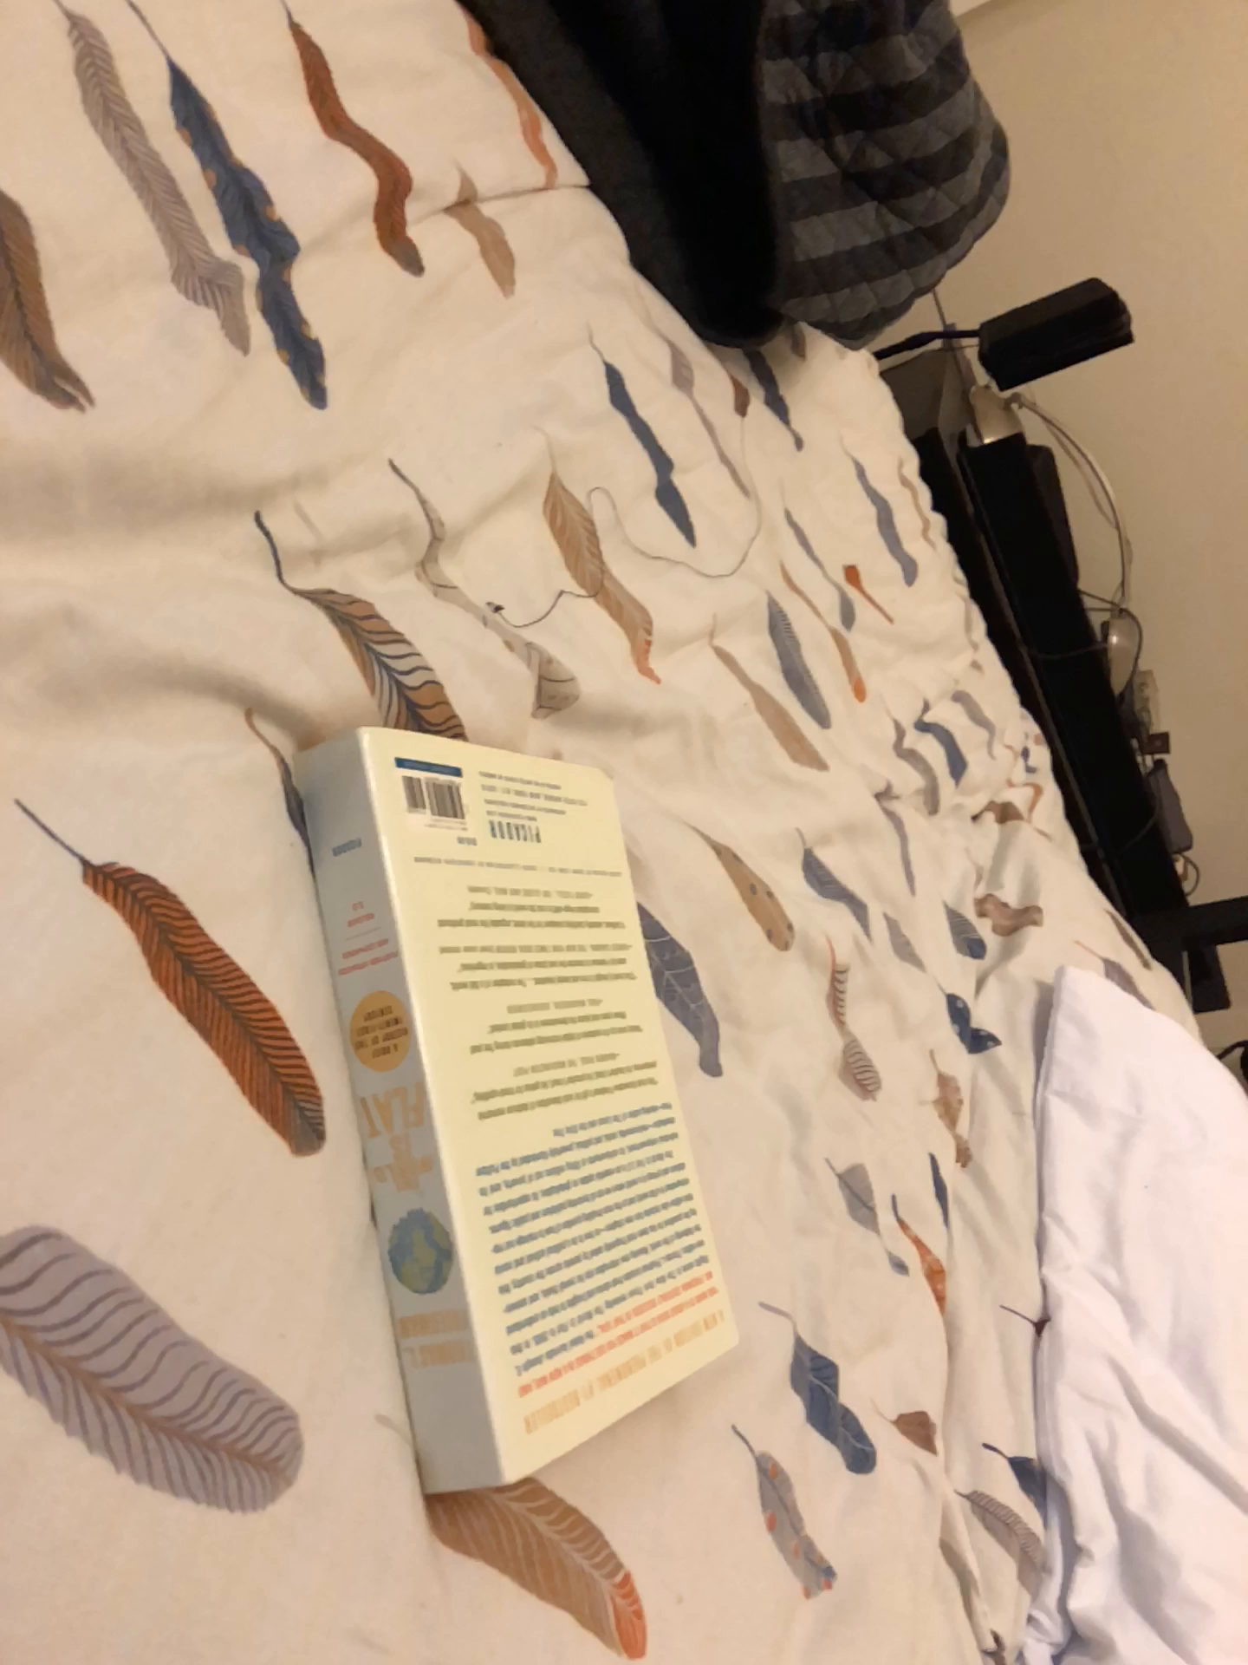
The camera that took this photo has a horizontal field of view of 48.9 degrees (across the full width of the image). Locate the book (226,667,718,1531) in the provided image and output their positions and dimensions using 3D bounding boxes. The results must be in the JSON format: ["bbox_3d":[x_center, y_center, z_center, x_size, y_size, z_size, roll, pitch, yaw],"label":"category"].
[{"bbox_3d":[-0.039,0.070,0.428,0.151,0.040,0.220,6,71,-65],"label":"book"}]
